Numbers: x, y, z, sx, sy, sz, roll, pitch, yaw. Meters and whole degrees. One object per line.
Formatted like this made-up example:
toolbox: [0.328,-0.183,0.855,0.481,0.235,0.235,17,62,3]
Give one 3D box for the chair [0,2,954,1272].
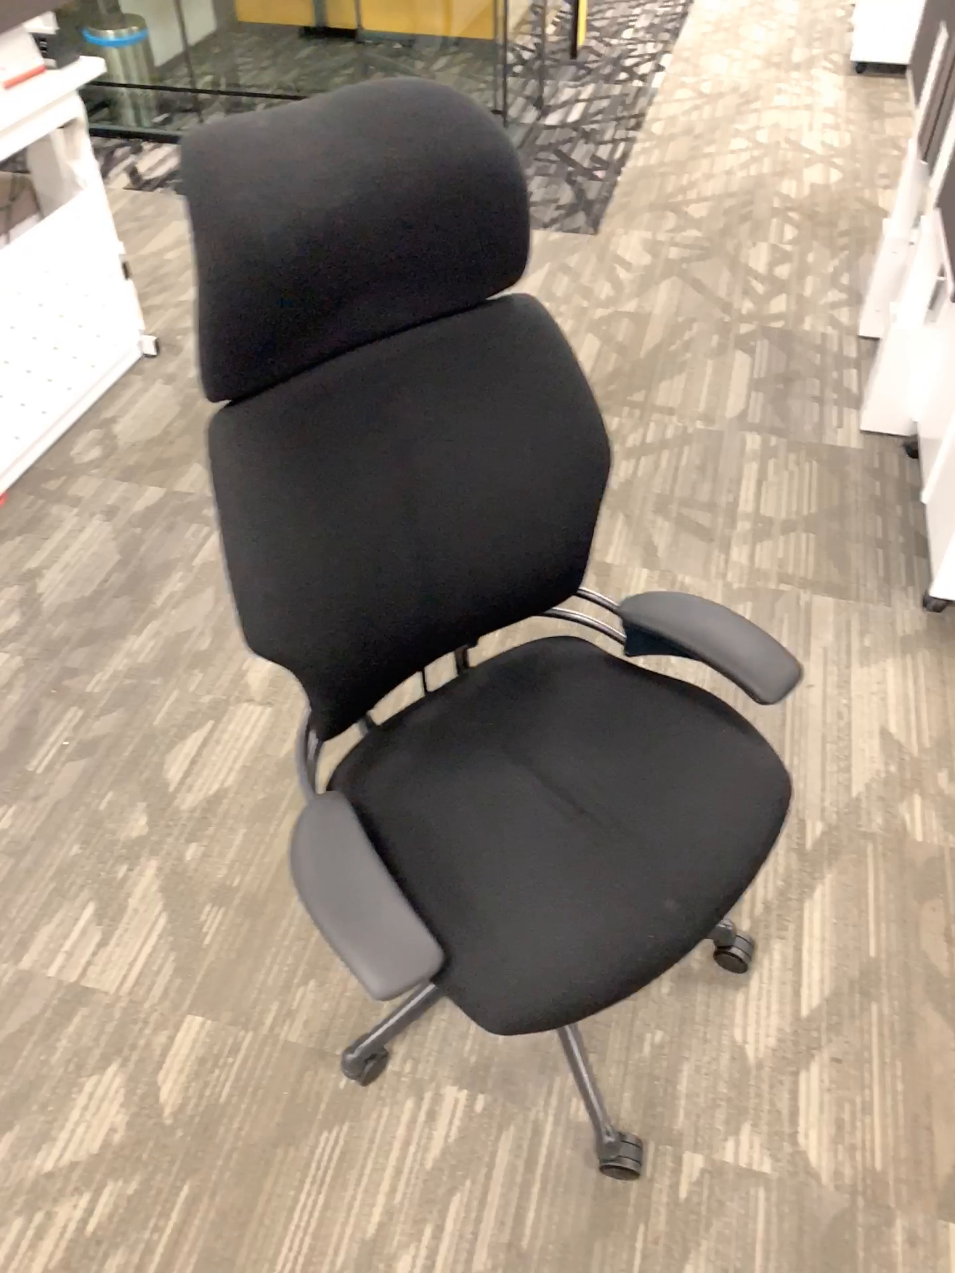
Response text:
chair: [0.058,0.046,1.100,0.692,1.091,0.774,-31,52,-27]
